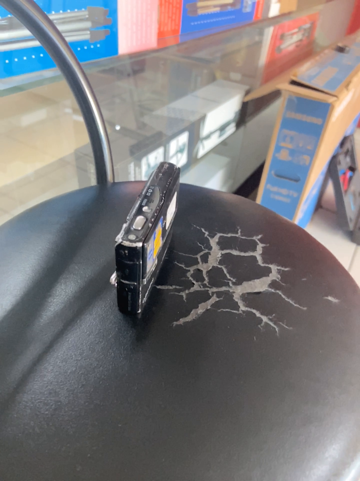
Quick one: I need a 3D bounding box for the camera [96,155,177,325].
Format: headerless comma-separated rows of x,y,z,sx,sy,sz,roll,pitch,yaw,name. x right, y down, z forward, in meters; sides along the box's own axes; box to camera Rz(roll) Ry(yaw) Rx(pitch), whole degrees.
-0.024,-0.005,0.244,0.020,0.060,0.101,11,38,7,camera
